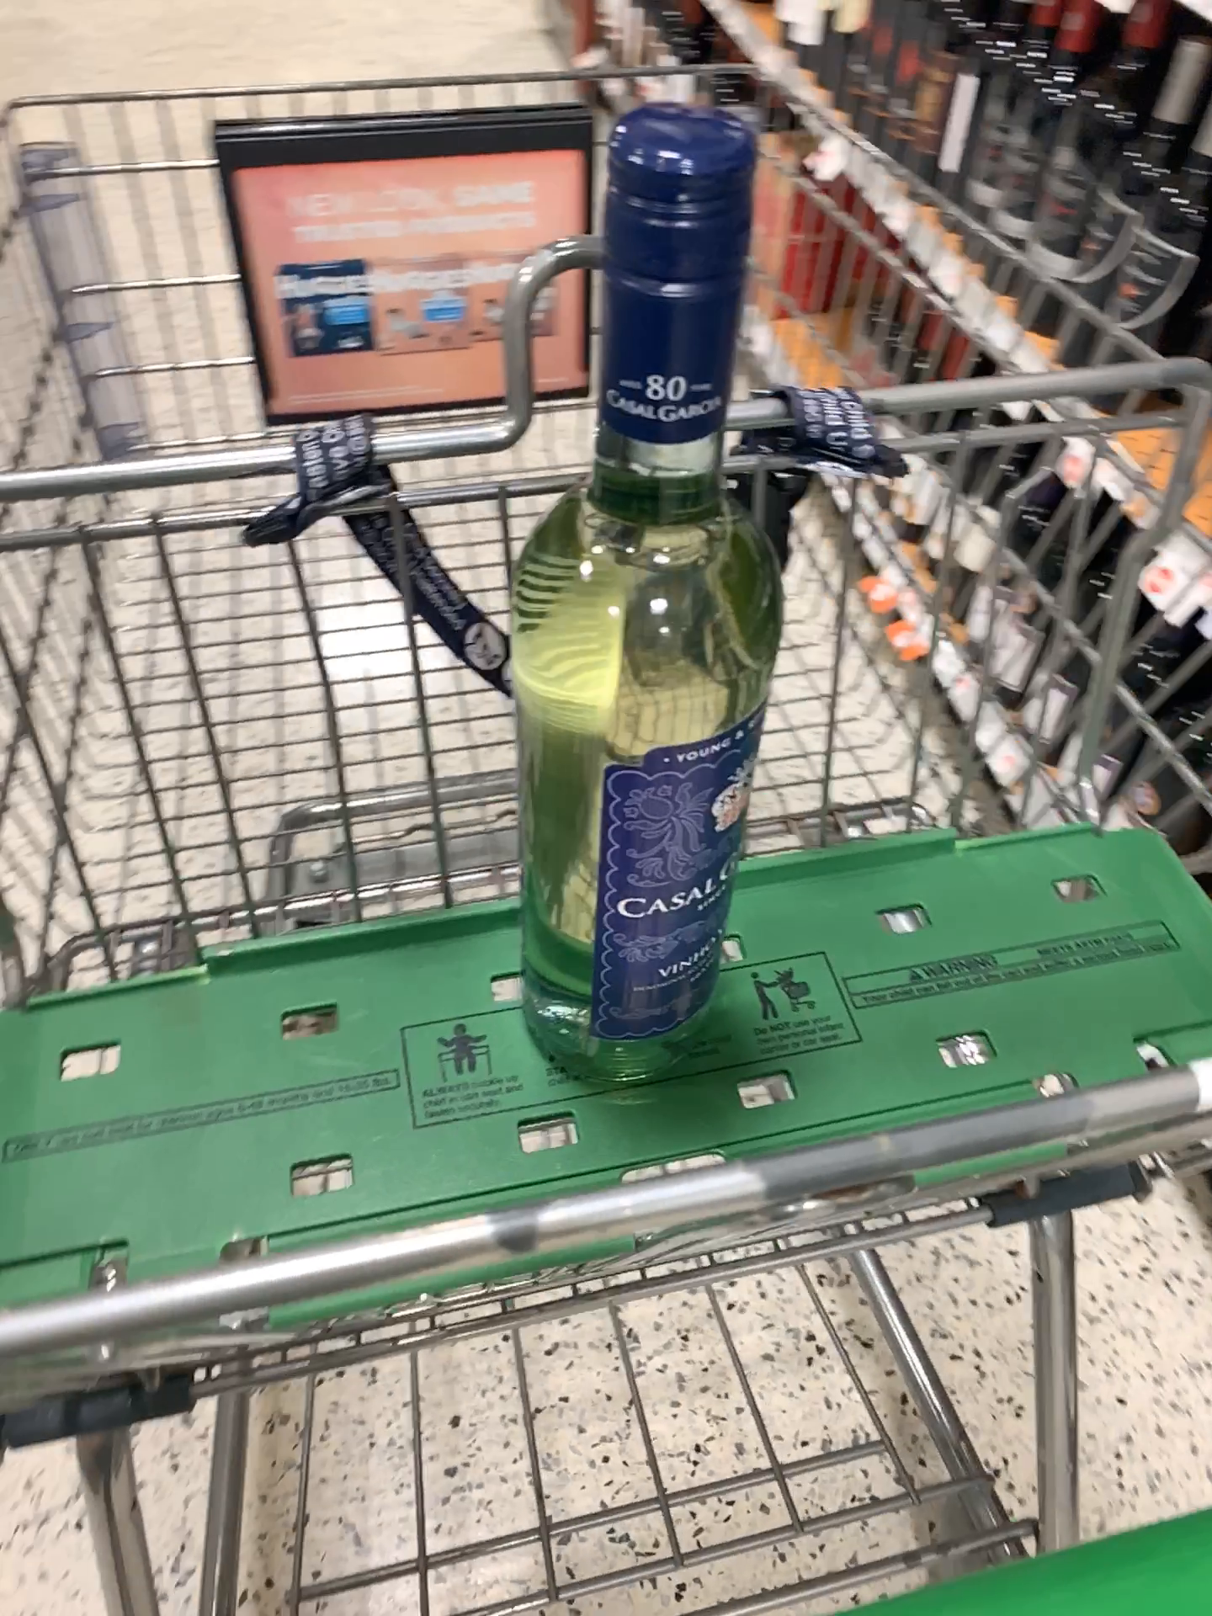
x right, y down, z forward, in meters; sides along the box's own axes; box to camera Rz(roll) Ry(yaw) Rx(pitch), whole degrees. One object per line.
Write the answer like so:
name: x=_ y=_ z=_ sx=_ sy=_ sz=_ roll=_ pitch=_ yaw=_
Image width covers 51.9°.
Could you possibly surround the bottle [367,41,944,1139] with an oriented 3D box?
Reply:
bottle: x=0.007 y=-0.029 z=0.349 sx=0.080 sy=0.297 sz=0.081 roll=1 pitch=48 yaw=-1
